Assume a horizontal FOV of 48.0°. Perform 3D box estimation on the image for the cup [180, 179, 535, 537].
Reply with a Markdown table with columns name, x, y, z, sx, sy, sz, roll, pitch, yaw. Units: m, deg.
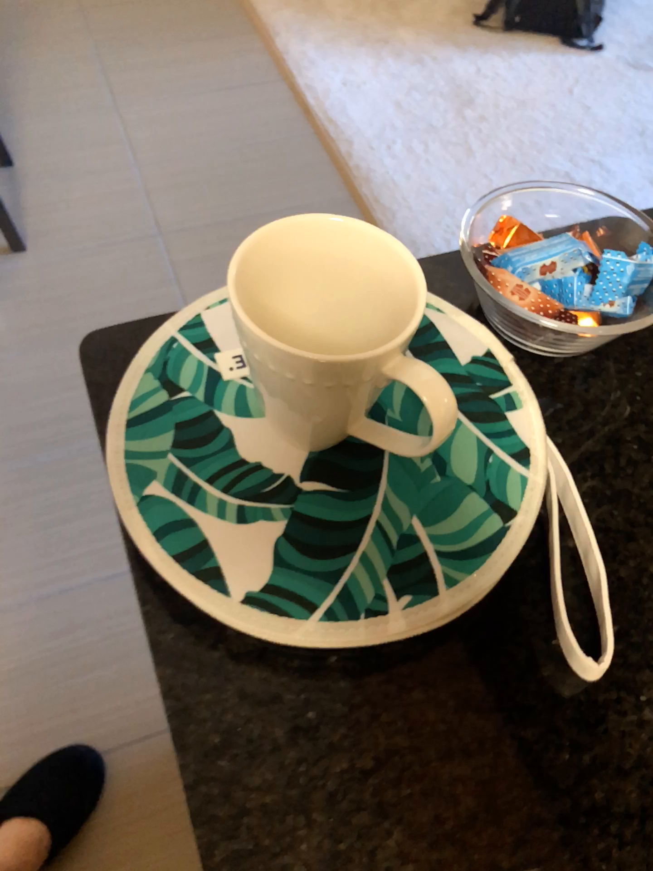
| name | x | y | z | sx | sy | sz | roll | pitch | yaw |
| --- | --- | --- | --- | --- | --- | --- | --- | --- | --- |
| cup | 0.011 | -0.040 | 0.361 | 0.130 | 0.090 | 0.090 | 36 | 60 | 20 |
